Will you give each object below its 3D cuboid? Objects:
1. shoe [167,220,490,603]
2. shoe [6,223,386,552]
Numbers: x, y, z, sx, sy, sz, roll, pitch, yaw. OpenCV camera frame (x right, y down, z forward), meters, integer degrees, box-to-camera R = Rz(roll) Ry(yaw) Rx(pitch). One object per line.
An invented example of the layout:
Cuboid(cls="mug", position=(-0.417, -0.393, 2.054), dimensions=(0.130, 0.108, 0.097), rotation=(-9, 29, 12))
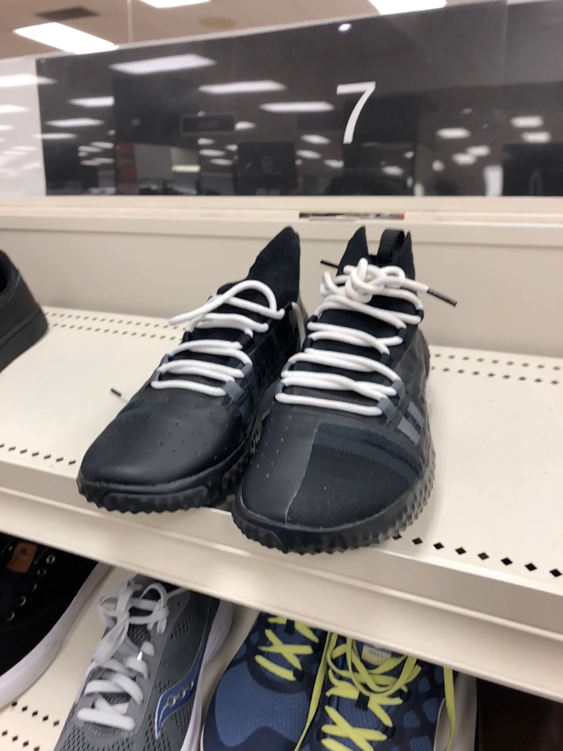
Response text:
Cuboid(cls="shoe", position=(0.069, -0.020, 0.451), dimensions=(0.120, 0.136, 0.352), rotation=(6, 22, 21))
Cuboid(cls="shoe", position=(-0.026, -0.030, 0.502), dimensions=(0.120, 0.136, 0.352), rotation=(7, 22, 24))
